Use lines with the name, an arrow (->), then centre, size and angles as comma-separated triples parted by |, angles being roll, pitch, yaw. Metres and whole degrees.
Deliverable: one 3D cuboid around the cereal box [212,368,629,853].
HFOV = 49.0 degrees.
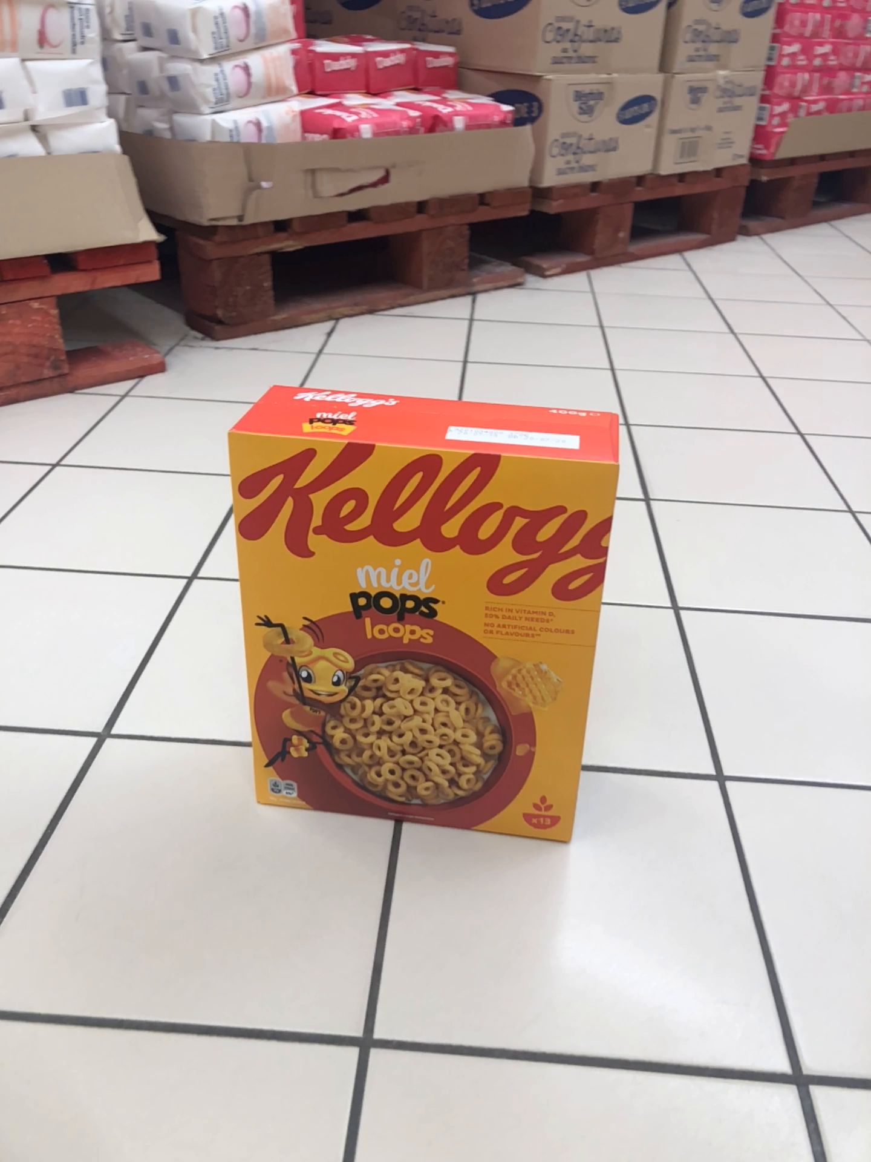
cereal box -> -0.007, 0.019, 0.529 | 0.190, 0.239, 0.091 | 6, 30, 6
